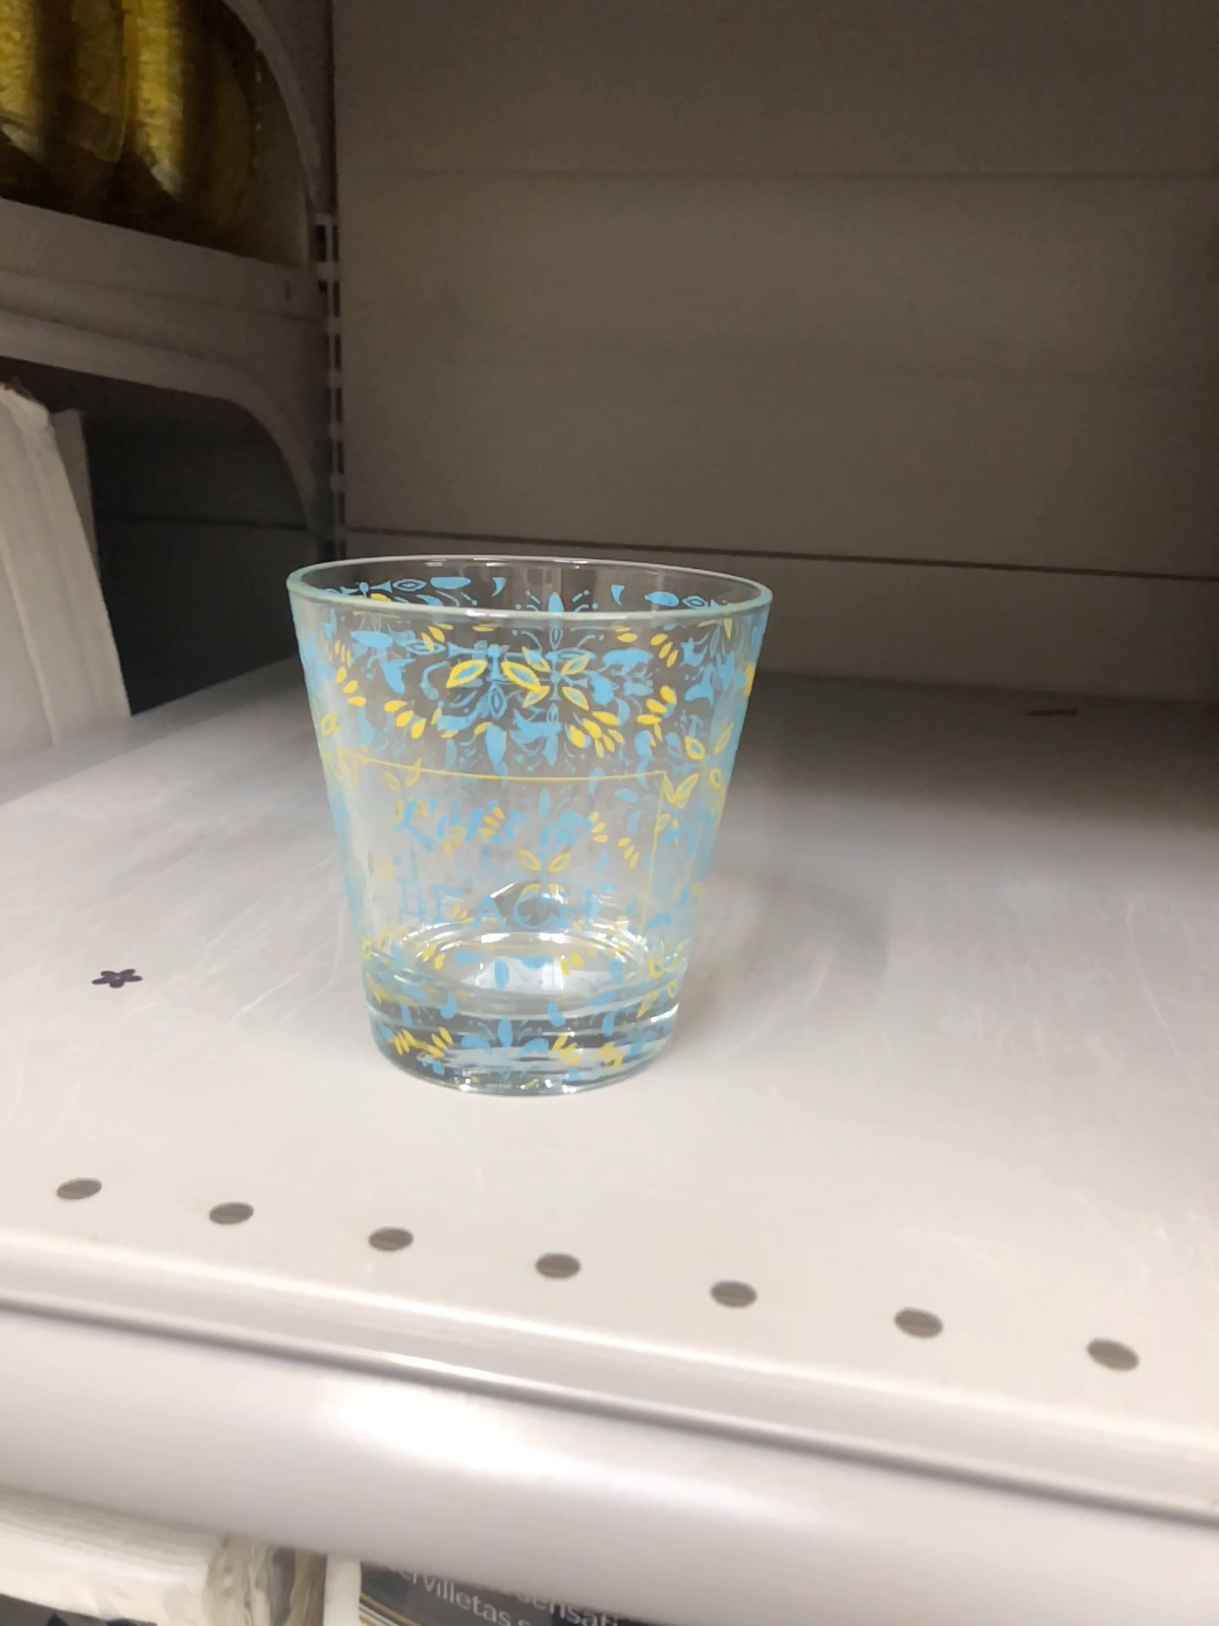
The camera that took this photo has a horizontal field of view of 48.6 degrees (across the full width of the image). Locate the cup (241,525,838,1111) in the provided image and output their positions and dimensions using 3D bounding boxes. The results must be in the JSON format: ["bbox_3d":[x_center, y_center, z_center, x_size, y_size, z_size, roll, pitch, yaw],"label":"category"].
[{"bbox_3d":[-0.010,-0.005,0.251,0.088,0.080,0.084,2,19,-1],"label":"cup"}]
